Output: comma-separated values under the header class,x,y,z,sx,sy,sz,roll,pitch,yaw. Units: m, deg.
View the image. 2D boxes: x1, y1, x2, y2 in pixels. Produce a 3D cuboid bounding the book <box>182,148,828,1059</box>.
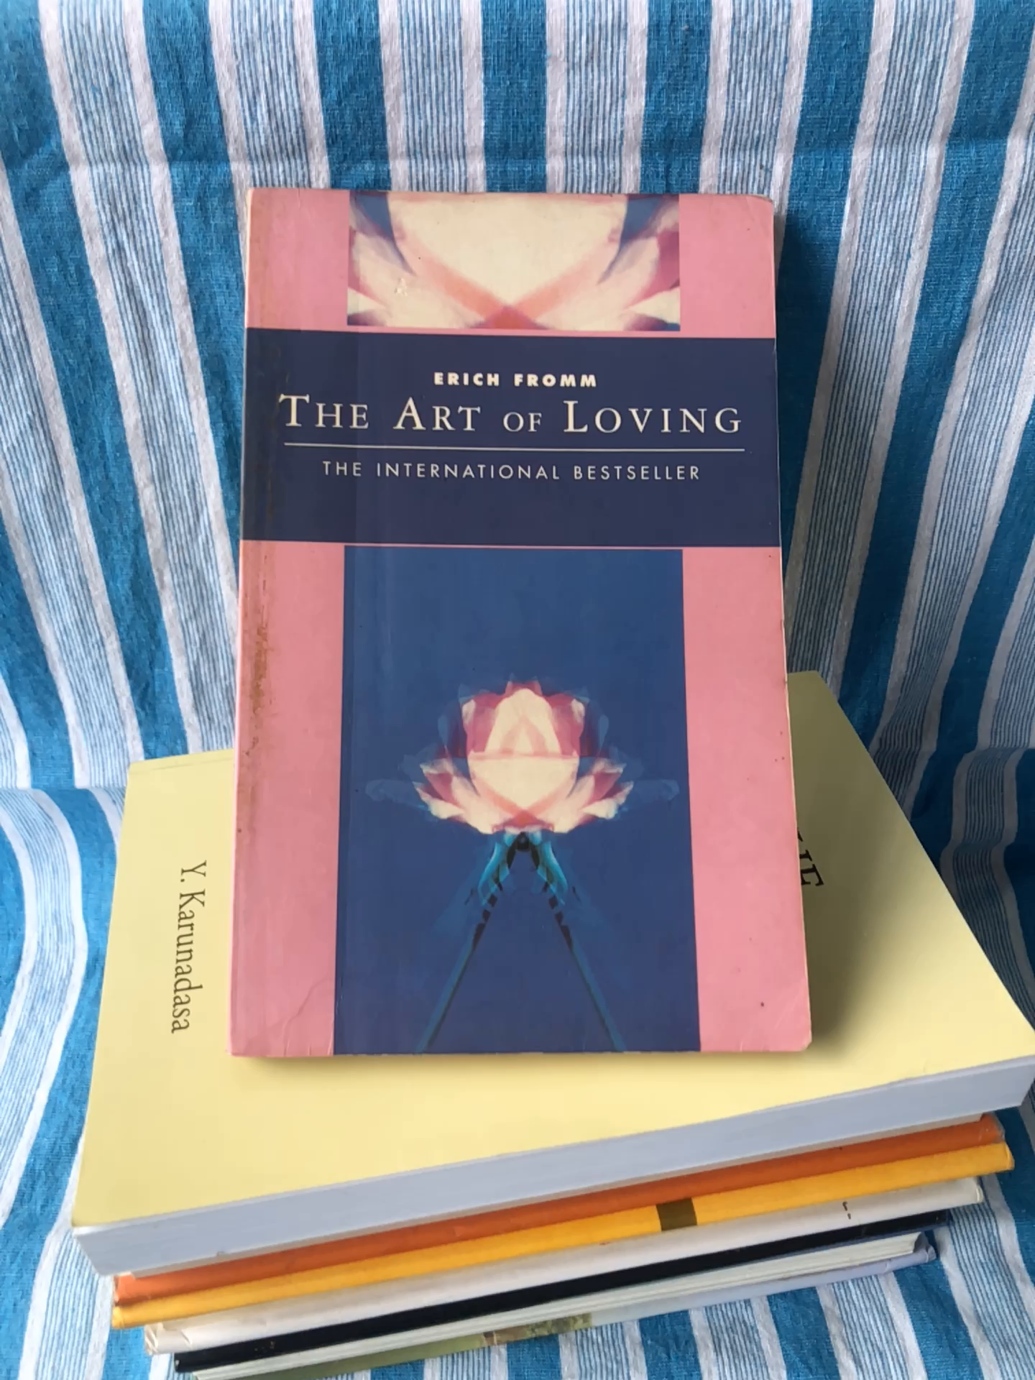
class,x,y,z,sx,sy,sz,roll,pitch,yaw
book,-0.004,-0.022,0.249,0.129,0.015,0.193,-1,83,0
